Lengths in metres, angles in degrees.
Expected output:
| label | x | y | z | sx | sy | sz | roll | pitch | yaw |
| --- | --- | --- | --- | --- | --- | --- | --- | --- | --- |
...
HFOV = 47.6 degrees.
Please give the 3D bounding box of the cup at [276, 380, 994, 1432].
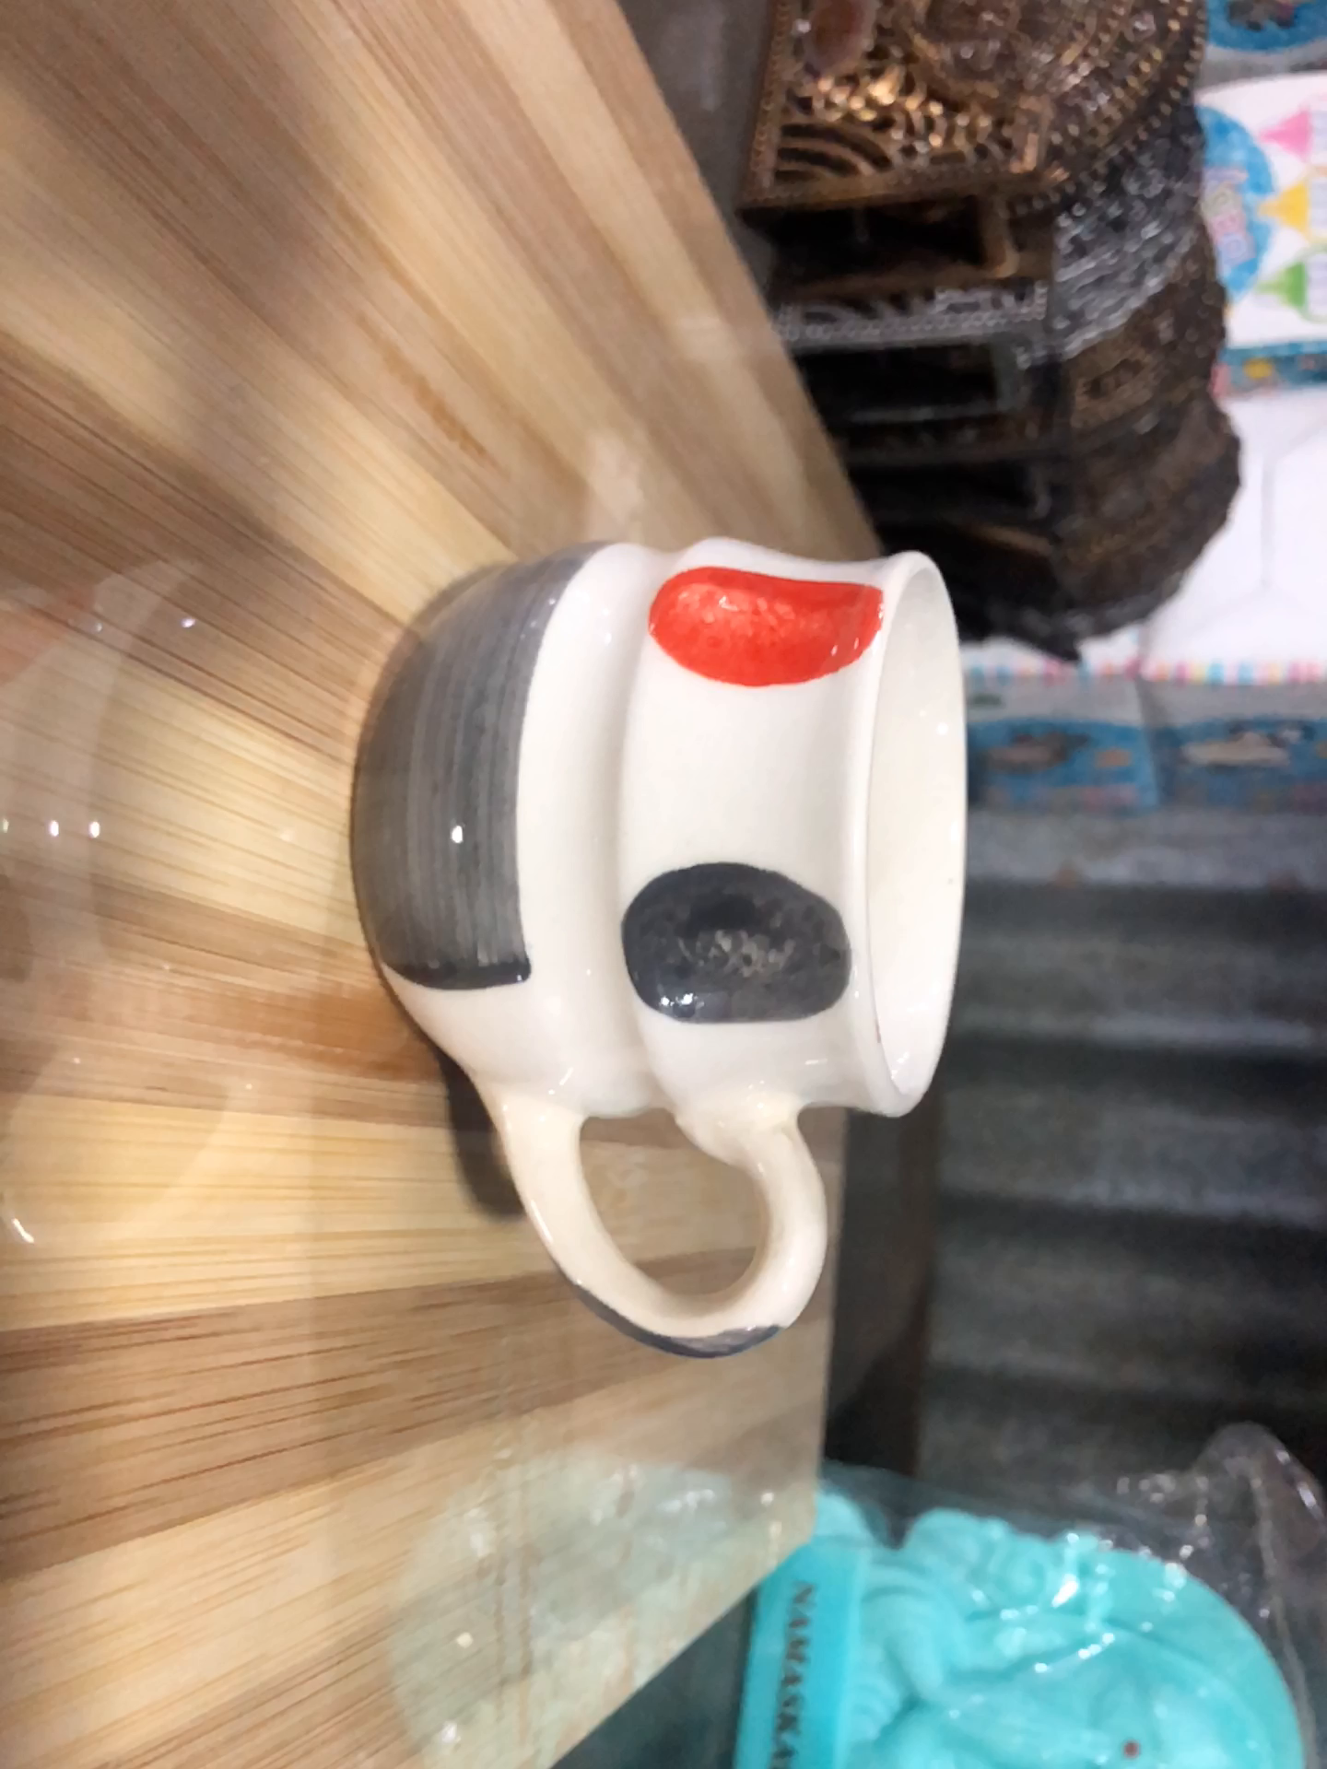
| label | x | y | z | sx | sy | sz | roll | pitch | yaw |
| --- | --- | --- | --- | --- | --- | --- | --- | --- | --- |
| cup | 0.001 | 0.000 | 0.166 | 0.060 | 0.060 | 0.090 | -8 | 100 | -71 |
